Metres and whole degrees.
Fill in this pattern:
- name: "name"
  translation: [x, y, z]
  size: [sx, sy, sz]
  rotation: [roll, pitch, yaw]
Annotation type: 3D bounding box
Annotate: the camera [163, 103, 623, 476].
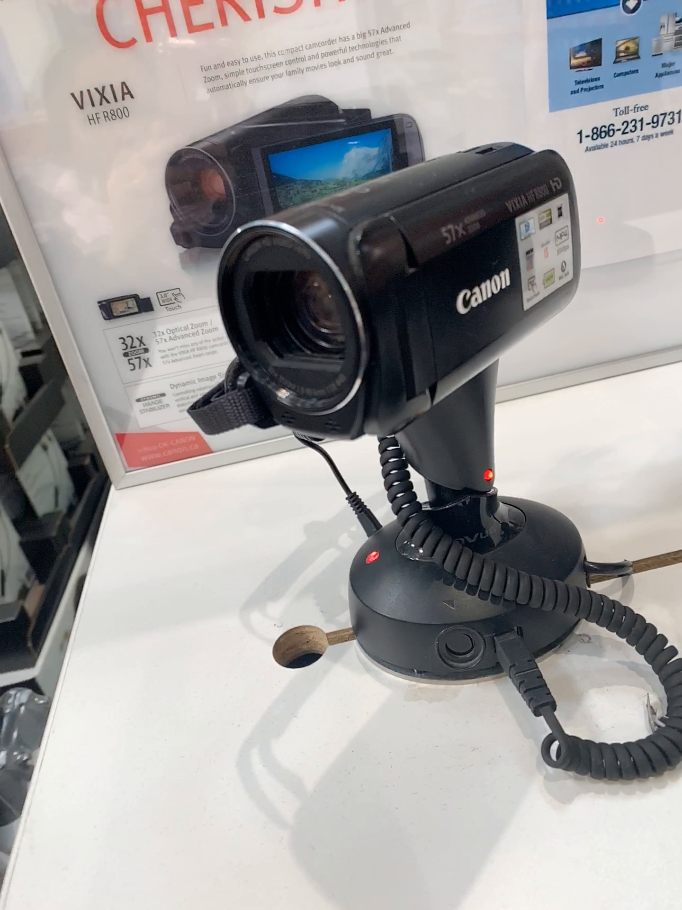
- name: "camera"
  translation: [0.023, -0.051, 0.186]
  size: [0.058, 0.054, 0.114]
  rotation: [14, 37, 38]
